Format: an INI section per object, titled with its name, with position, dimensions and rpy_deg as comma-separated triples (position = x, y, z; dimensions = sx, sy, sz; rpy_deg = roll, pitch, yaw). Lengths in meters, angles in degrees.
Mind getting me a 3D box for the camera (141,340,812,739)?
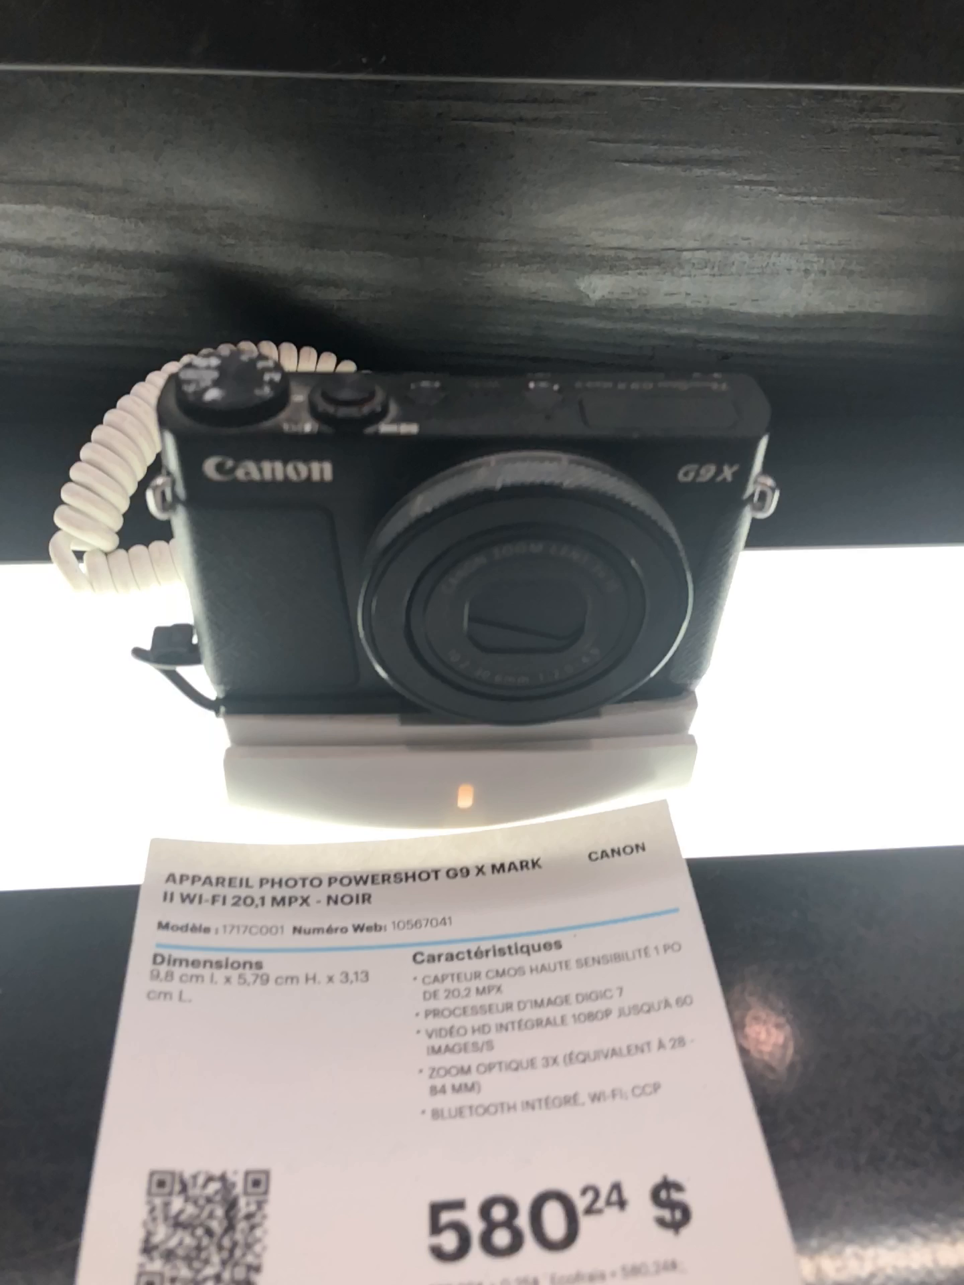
[camera]
position = -0.002, -0.015, 0.175
dimensions = 0.092, 0.060, 0.026
rpy_deg = -1, 41, -4
